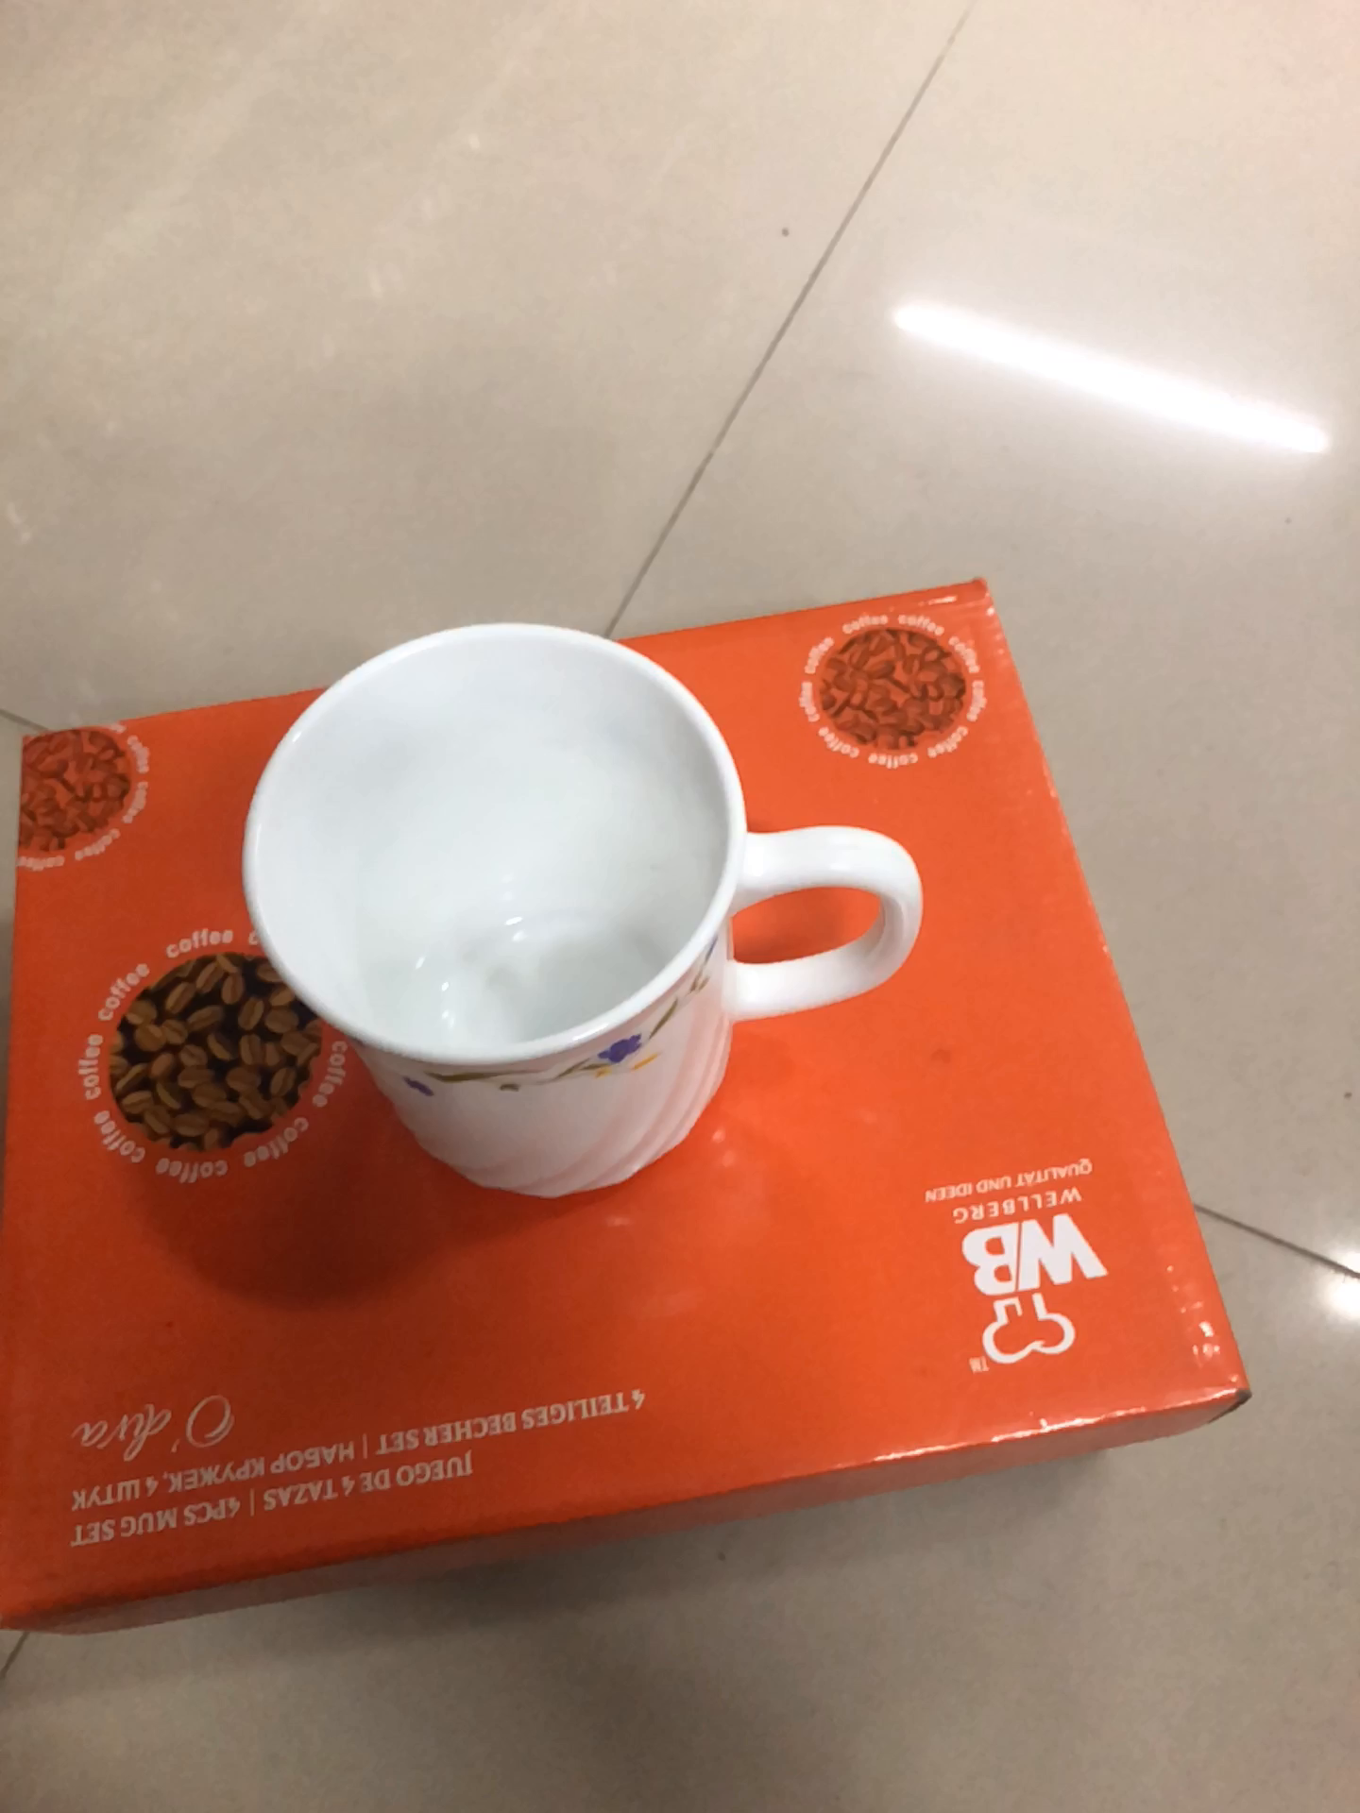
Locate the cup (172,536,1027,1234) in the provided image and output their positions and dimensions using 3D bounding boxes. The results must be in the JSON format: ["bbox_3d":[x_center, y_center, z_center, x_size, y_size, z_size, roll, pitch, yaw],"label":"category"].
[{"bbox_3d":[-0.010,0.001,0.273,0.120,0.090,0.090,-2,64,2],"label":"cup"}]
